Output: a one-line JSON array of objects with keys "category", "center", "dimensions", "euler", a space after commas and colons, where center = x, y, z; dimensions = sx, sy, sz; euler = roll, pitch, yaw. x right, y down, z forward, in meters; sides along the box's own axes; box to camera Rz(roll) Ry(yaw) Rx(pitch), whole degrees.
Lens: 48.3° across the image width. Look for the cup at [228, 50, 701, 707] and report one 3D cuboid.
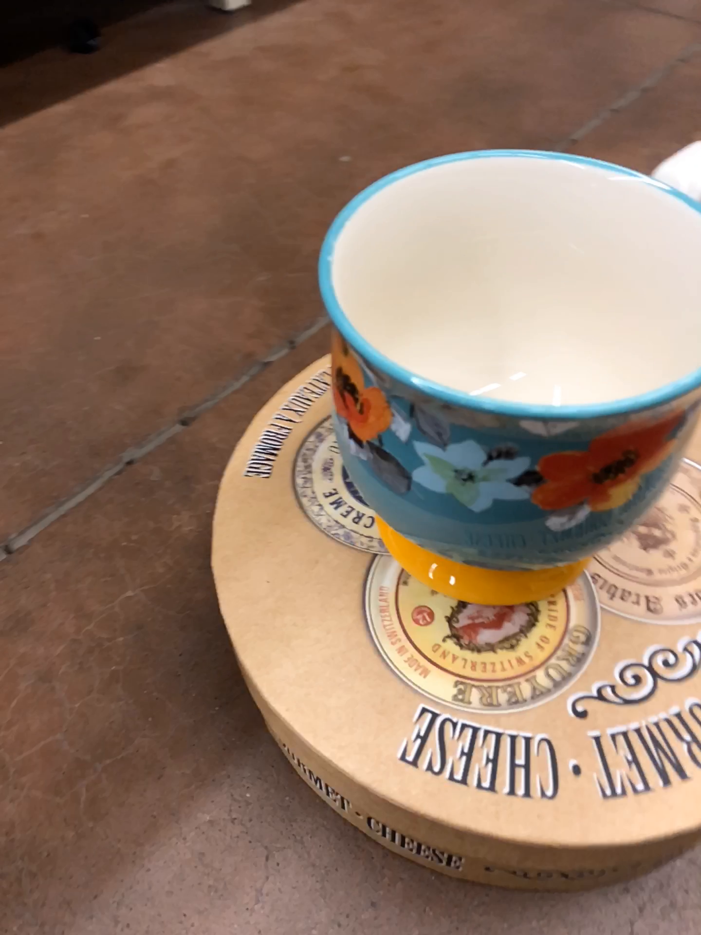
[{"category": "cup", "center": [0.057, -0.033, 0.203], "dimensions": [0.090, 0.080, 0.140], "euler": [36, 59, 29]}]
